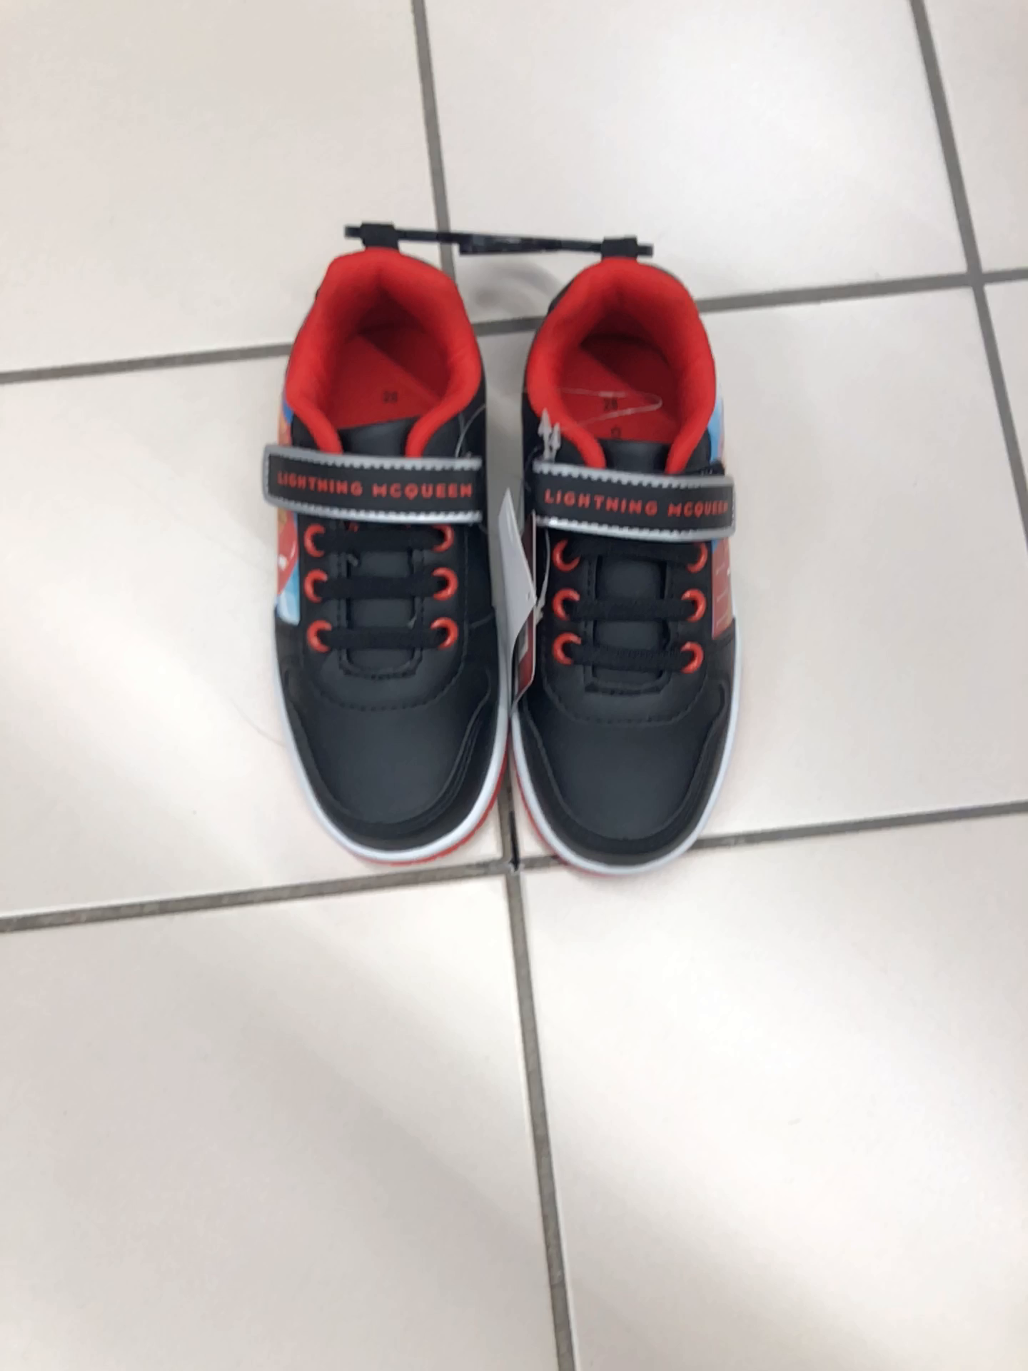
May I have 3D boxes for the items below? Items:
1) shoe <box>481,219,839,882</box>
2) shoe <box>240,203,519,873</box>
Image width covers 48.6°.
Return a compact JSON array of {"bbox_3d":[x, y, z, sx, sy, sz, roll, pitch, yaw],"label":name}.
[{"bbox_3d":[0.041,-0.043,0.375,0.094,0.054,0.207,-3,78,-1],"label":"shoe"},{"bbox_3d":[-0.044,-0.048,0.374,0.080,0.054,0.209,-3,78,-1],"label":"shoe"}]
